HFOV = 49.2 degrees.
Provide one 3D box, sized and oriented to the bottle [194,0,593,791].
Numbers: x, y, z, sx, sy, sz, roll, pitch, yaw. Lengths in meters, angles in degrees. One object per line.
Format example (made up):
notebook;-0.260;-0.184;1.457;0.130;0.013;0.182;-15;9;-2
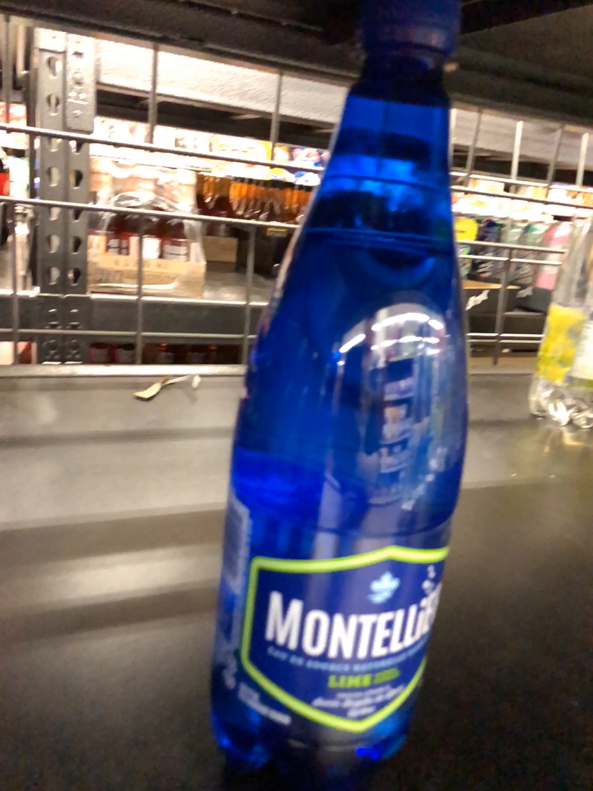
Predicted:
bottle;0.028;0.005;0.255;0.100;0.288;0.090;0;18;-21
